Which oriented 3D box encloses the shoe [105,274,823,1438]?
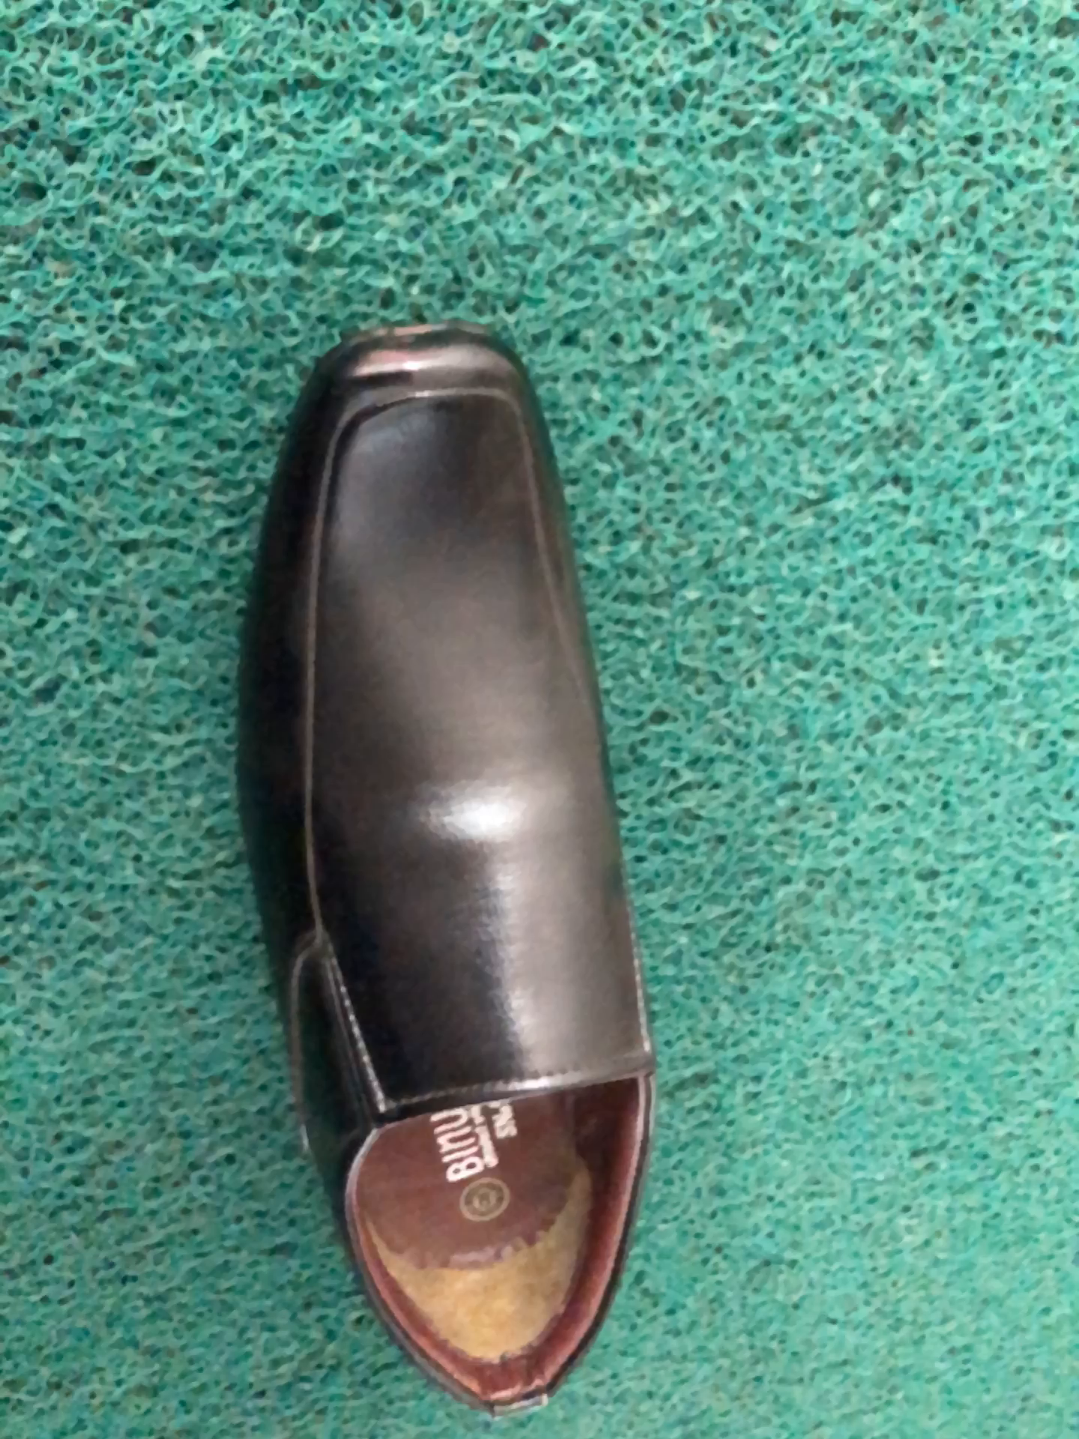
[{"bbox_3d":[-0.016,0.043,0.297,0.110,0.129,0.271,-9,116,-12],"label":"shoe"}]
